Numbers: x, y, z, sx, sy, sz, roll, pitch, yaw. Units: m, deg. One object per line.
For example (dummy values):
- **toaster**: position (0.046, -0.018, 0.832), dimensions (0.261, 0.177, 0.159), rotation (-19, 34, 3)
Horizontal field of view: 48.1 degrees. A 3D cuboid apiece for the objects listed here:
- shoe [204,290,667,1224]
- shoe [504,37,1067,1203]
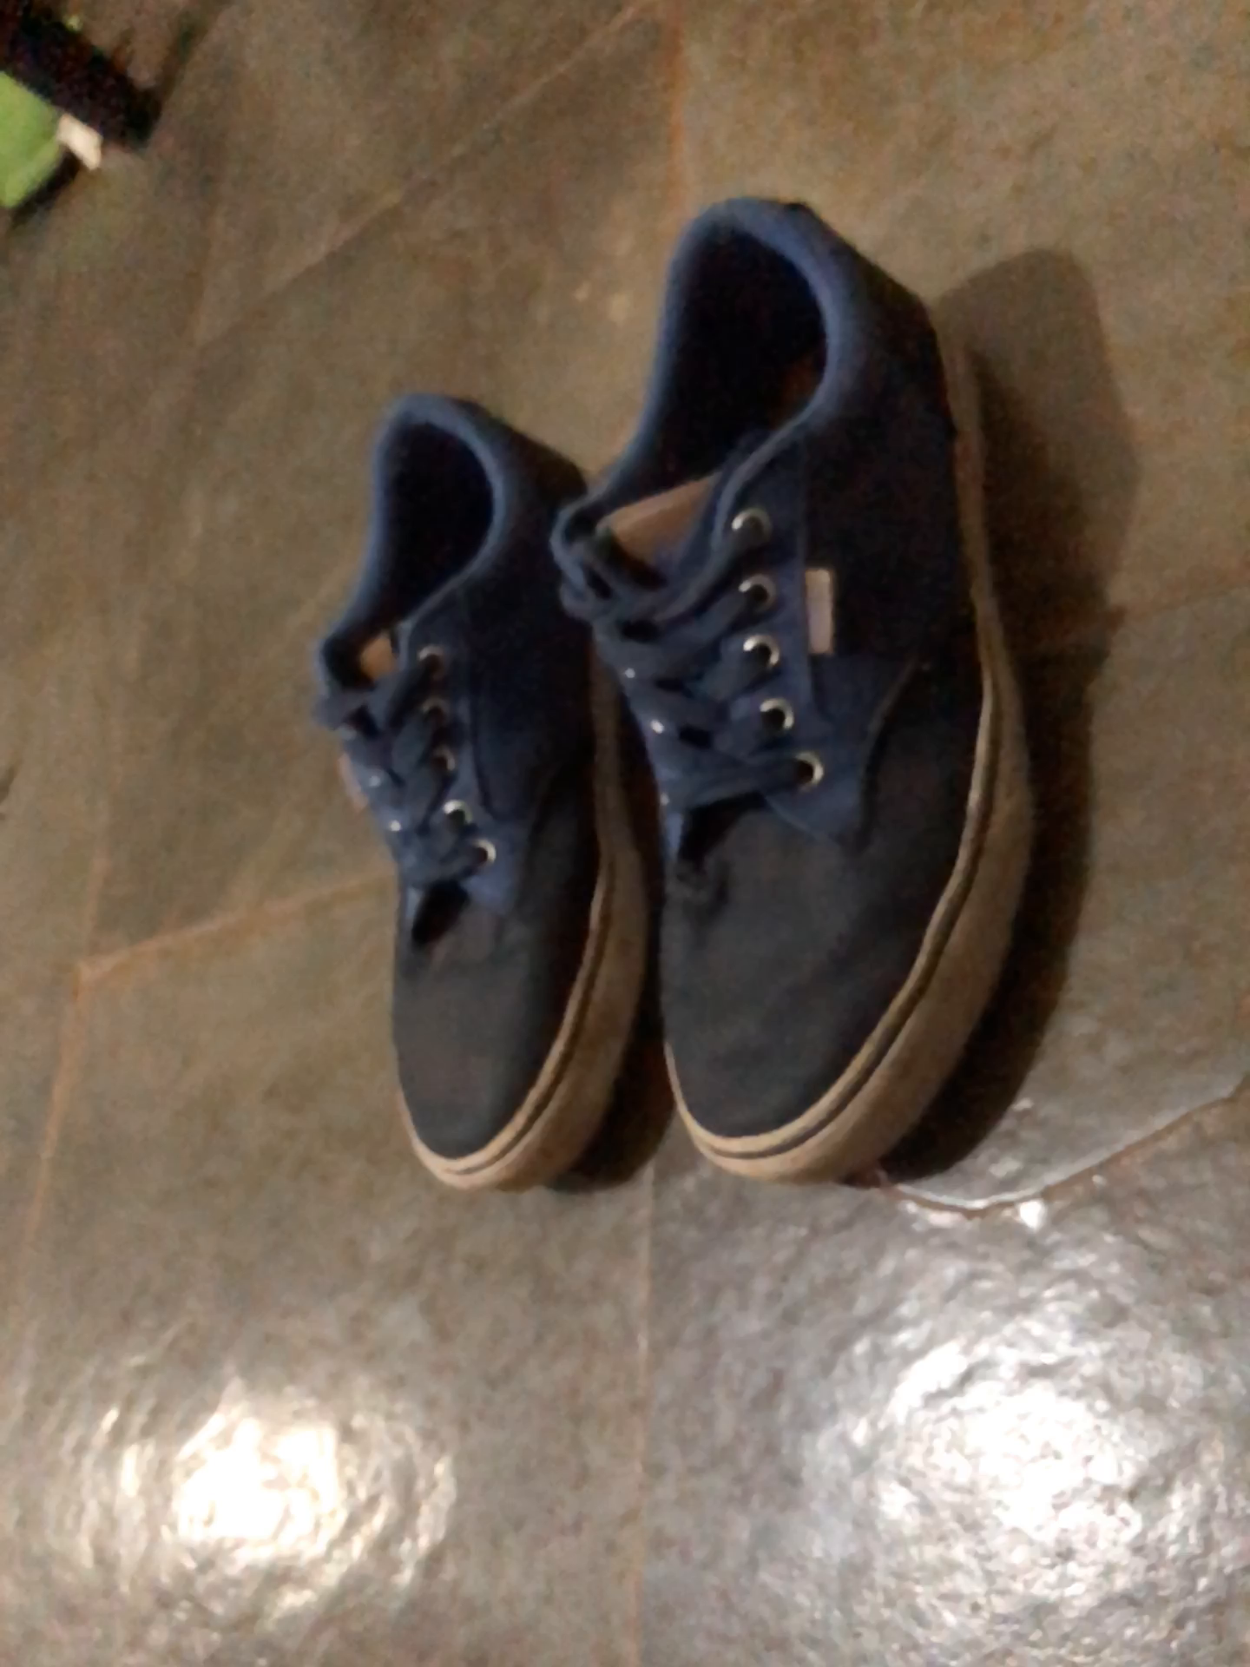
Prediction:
- **shoe**: position (-0.055, -0.023, 0.465), dimensions (0.110, 0.080, 0.281), rotation (-18, 61, 38)
- **shoe**: position (0.052, -0.054, 0.388), dimensions (0.110, 0.080, 0.291), rotation (-11, 65, 41)
